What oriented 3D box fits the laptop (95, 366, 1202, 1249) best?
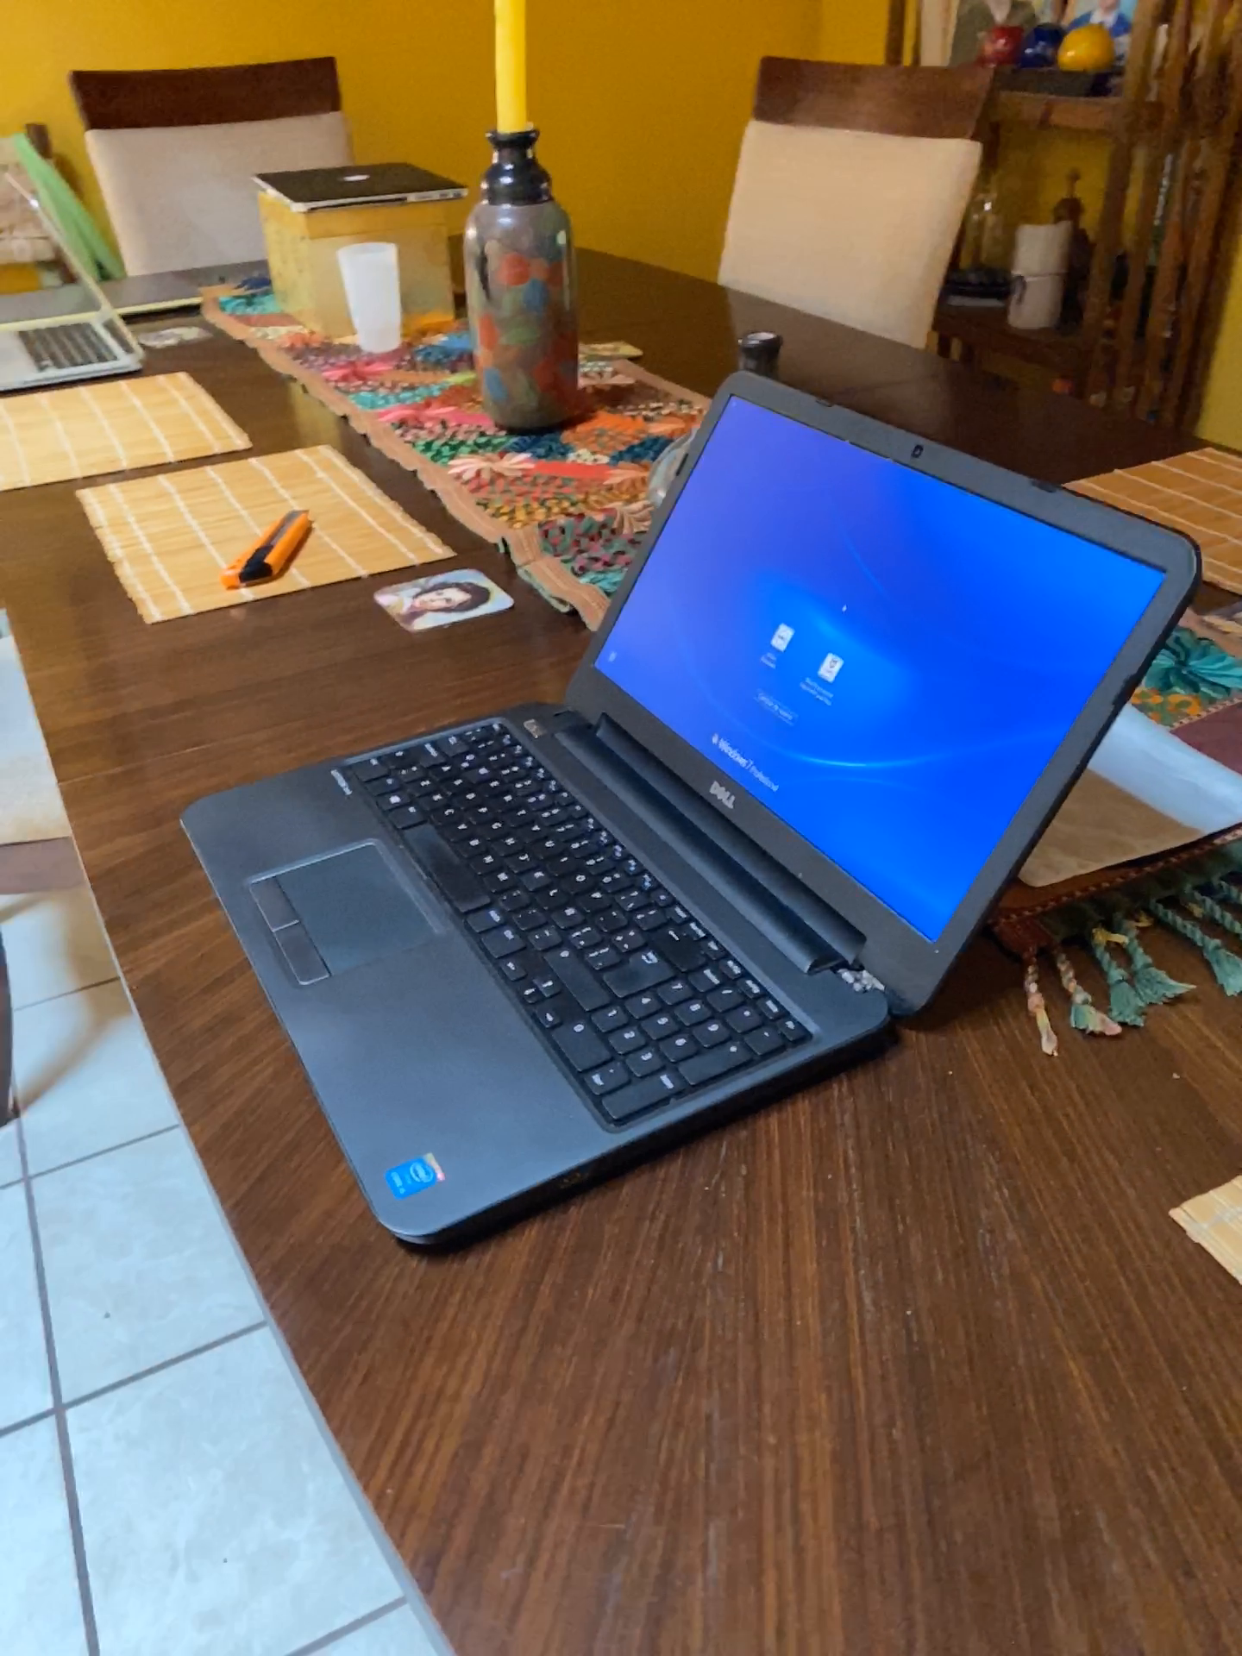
[{"bbox_3d":[-0.009,-0.066,0.656,0.396,0.194,0.369,-19,38,-23],"label":"laptop"}]
